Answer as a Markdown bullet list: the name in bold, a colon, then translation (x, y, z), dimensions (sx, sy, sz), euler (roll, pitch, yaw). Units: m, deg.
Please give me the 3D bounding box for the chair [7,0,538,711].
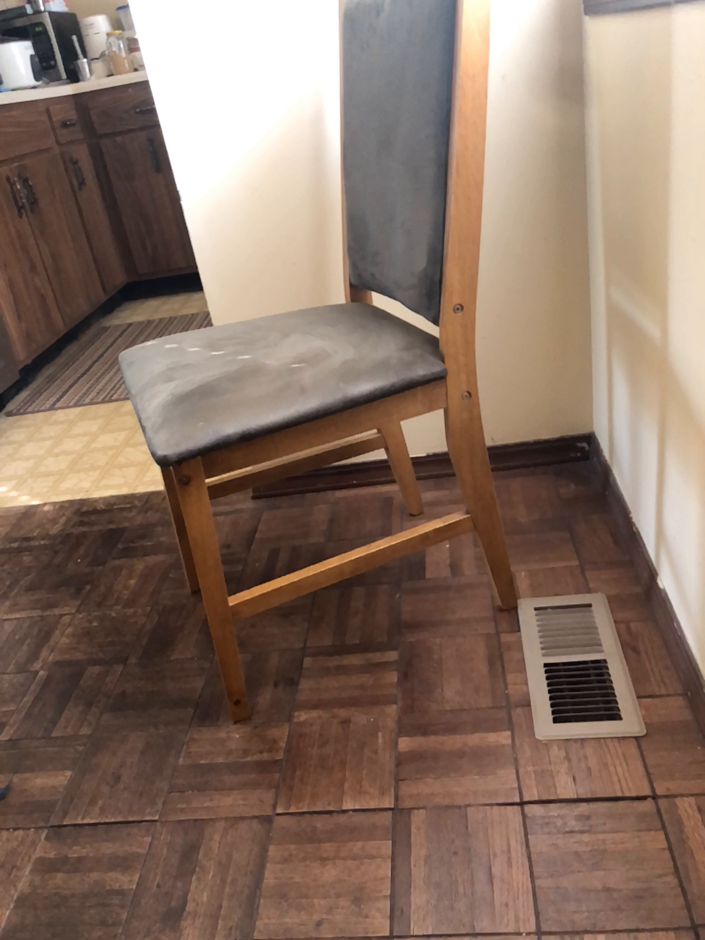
- **chair**: translation (-0.093, -0.223, 1.112), dimensions (0.510, 0.857, 0.492), euler (-15, 27, -16)
